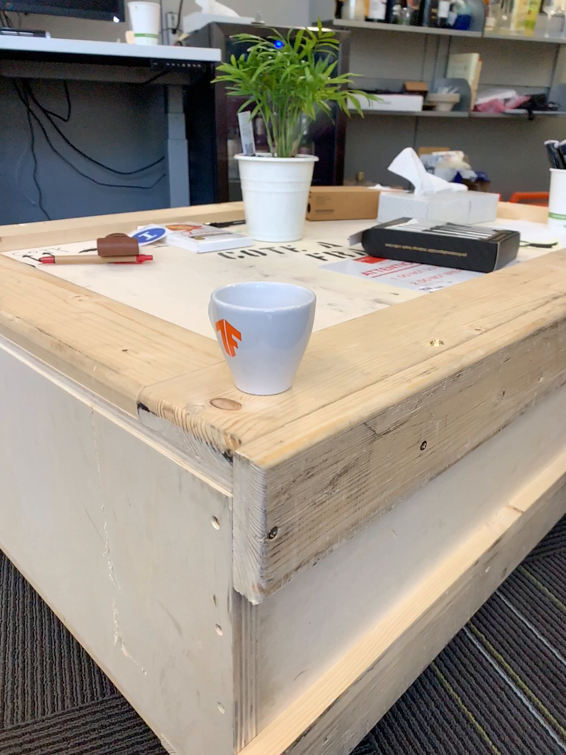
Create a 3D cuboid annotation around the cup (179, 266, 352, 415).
[{"bbox_3d":[-0.013,-0.028,0.366,0.060,0.060,0.090,-20,31,-40],"label":"cup"}]
